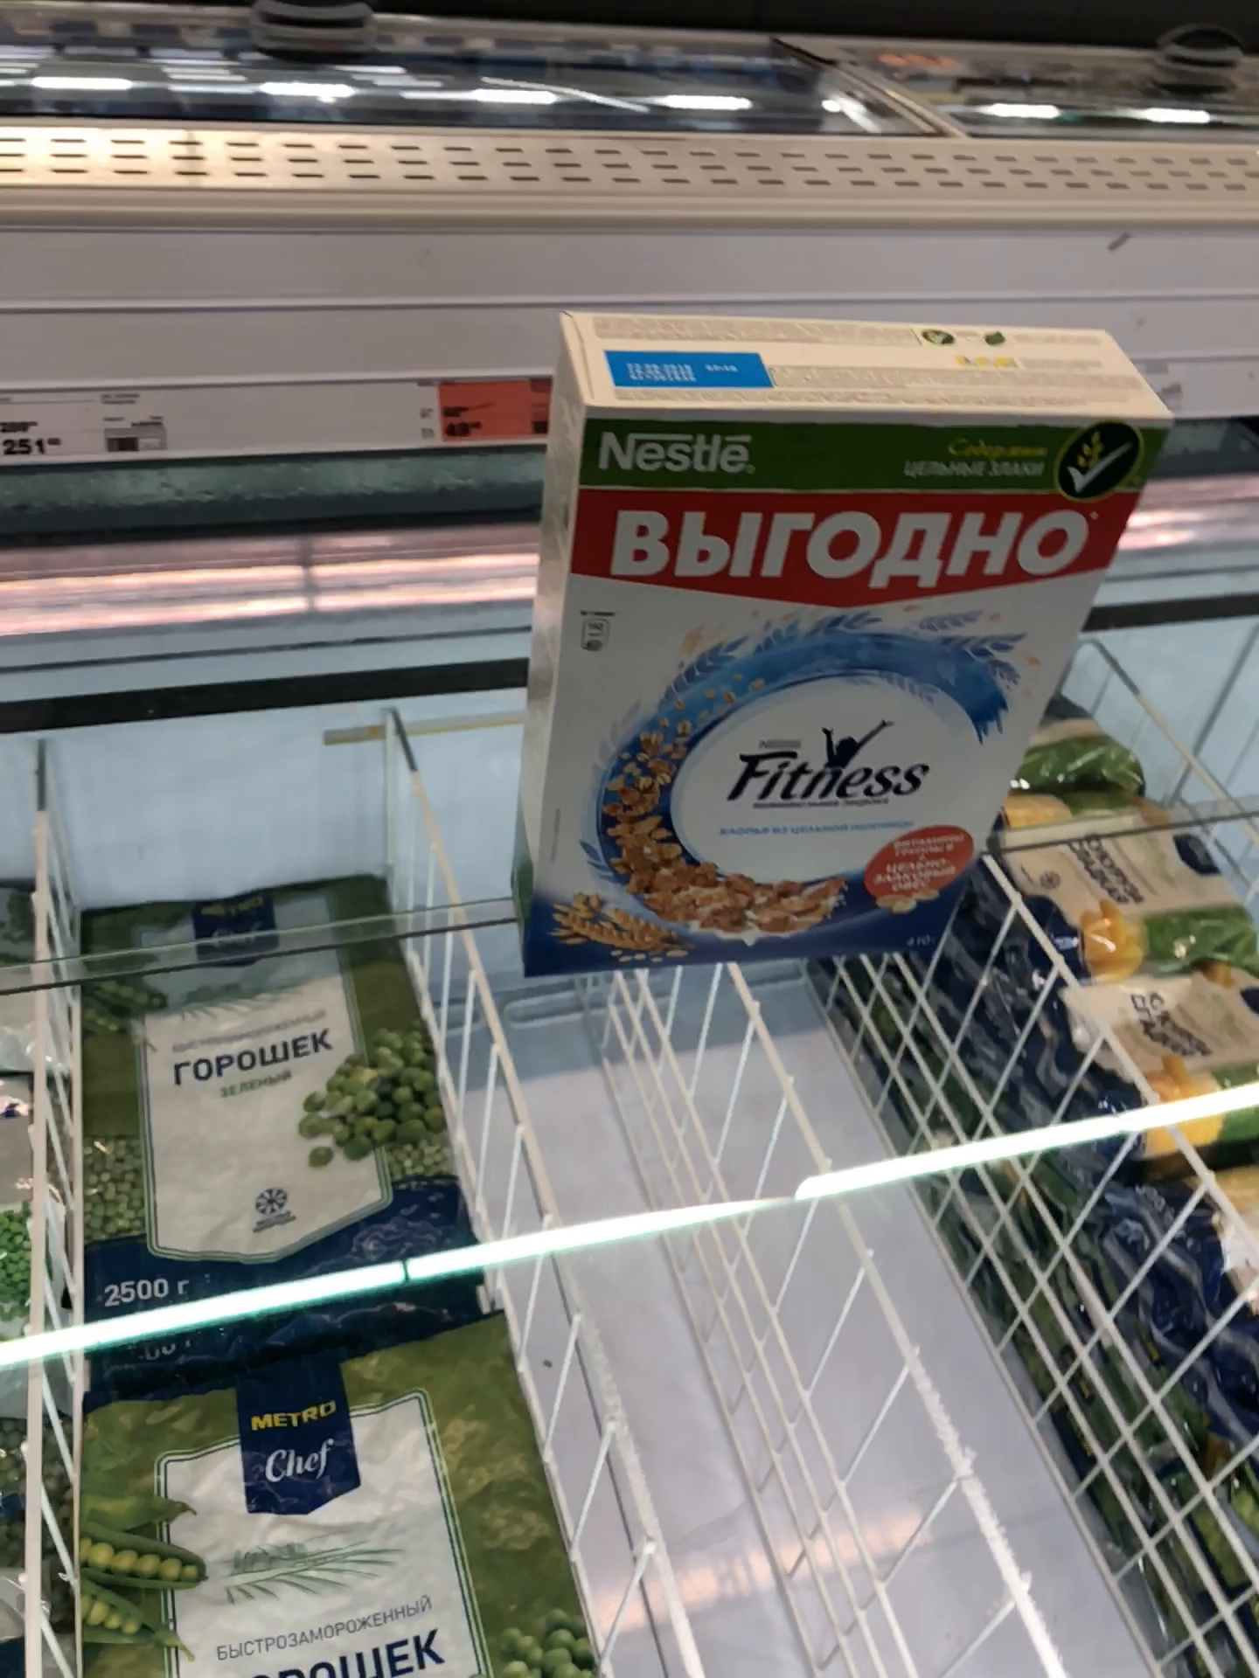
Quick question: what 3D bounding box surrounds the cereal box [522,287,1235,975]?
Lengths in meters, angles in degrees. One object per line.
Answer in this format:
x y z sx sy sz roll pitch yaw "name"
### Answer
0.070 -0.062 0.527 0.200 0.268 0.060 -3 47 -11 "cereal box"
